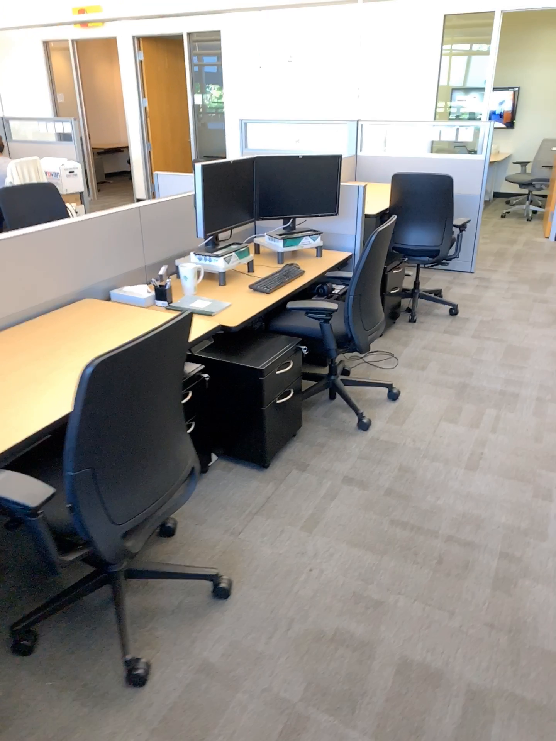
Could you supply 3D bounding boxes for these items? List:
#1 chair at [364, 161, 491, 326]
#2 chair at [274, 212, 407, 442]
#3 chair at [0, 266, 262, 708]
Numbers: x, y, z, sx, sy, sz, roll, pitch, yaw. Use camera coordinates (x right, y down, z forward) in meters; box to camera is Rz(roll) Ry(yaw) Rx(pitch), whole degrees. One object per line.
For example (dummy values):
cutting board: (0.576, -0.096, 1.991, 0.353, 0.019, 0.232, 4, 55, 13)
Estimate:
chair: (1.099, -0.970, 4.187, 0.631, 0.994, 0.763, 13, 28, 26)
chair: (0.315, -0.246, 2.927, 0.461, 0.994, 0.542, 13, 28, 26)
chair: (-0.435, 0.287, 1.625, 0.581, 0.994, 0.522, 12, 28, 25)
